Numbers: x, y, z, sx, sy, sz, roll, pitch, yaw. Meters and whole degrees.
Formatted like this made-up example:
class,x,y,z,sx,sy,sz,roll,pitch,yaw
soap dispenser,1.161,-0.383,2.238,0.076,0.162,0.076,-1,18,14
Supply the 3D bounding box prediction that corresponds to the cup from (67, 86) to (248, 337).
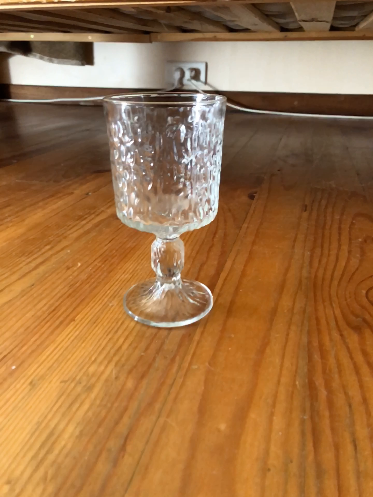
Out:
class,x,y,z,sx,sy,sz,roll,pitch,yaw
cup,-0.012,-0.029,0.264,0.081,0.134,0.081,1,24,0
